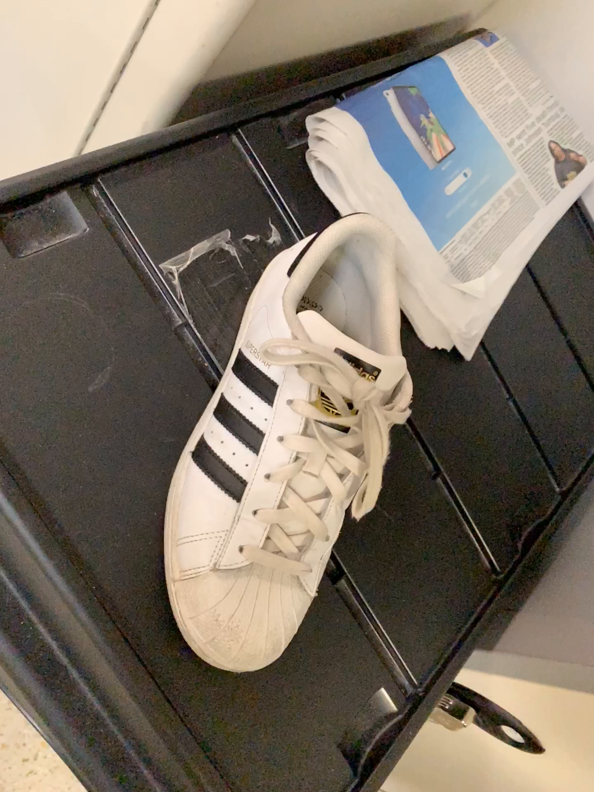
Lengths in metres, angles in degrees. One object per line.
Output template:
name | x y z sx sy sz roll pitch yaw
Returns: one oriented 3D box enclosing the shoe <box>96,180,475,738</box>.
shoe | 0.000 0.029 0.329 0.103 0.092 0.243 27 71 -26
